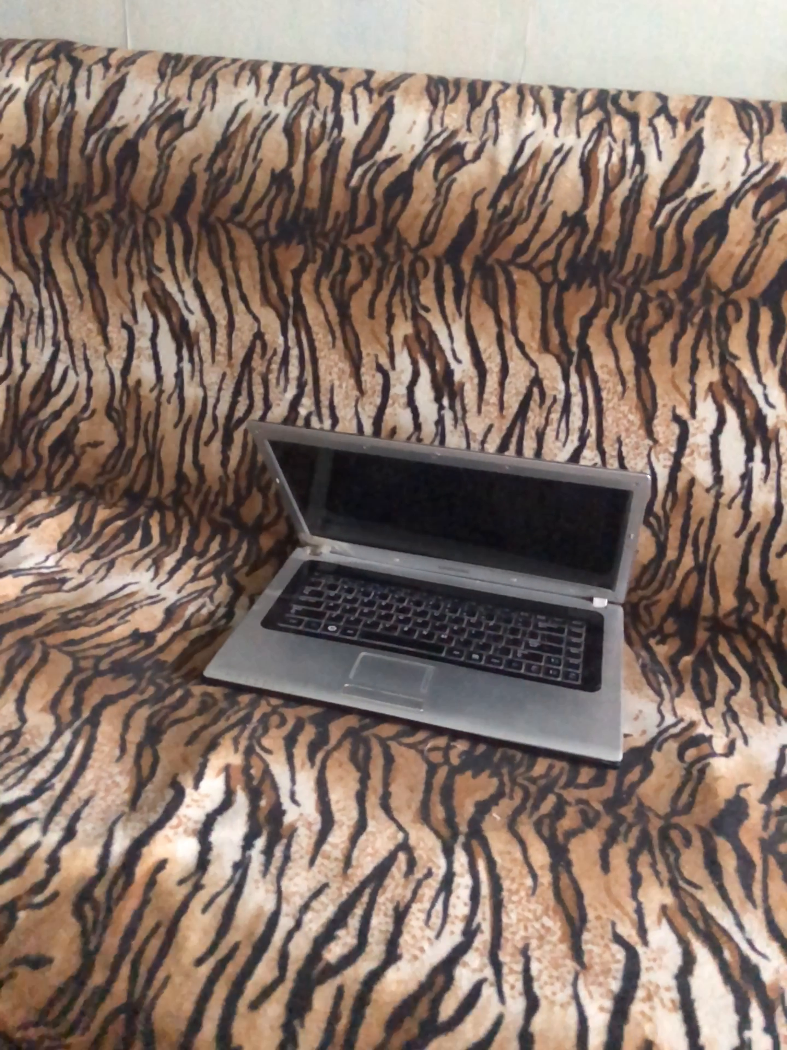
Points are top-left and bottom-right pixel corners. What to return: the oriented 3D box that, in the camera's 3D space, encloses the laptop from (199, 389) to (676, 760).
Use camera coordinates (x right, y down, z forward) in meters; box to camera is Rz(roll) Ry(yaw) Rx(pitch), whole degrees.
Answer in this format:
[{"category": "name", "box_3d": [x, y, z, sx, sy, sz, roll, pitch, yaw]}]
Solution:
[{"category": "laptop", "box_3d": [0.043, 0.023, 0.765, 0.350, 0.179, 0.239, 10, 28, 11]}]
